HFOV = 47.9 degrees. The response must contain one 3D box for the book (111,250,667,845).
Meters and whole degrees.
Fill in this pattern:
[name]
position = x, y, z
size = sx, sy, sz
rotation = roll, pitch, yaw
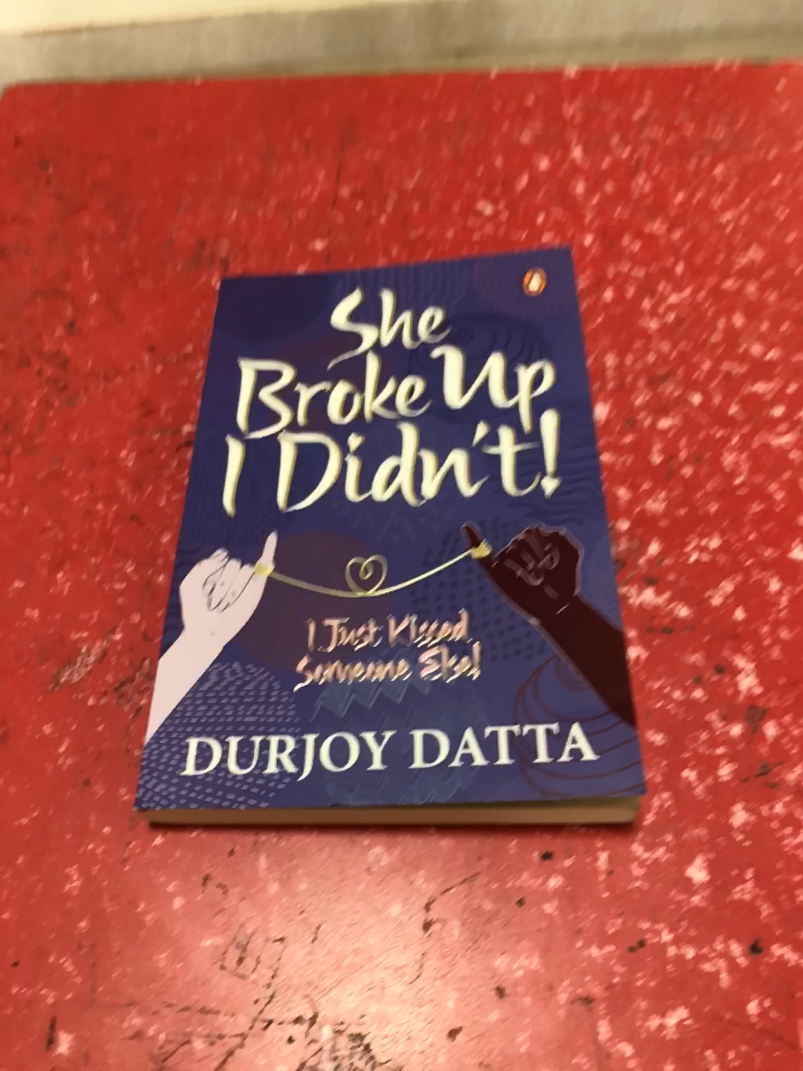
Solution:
[book]
position = -0.002, -0.007, 0.280
size = 0.130, 0.040, 0.190
rotation = -1, 57, 3
